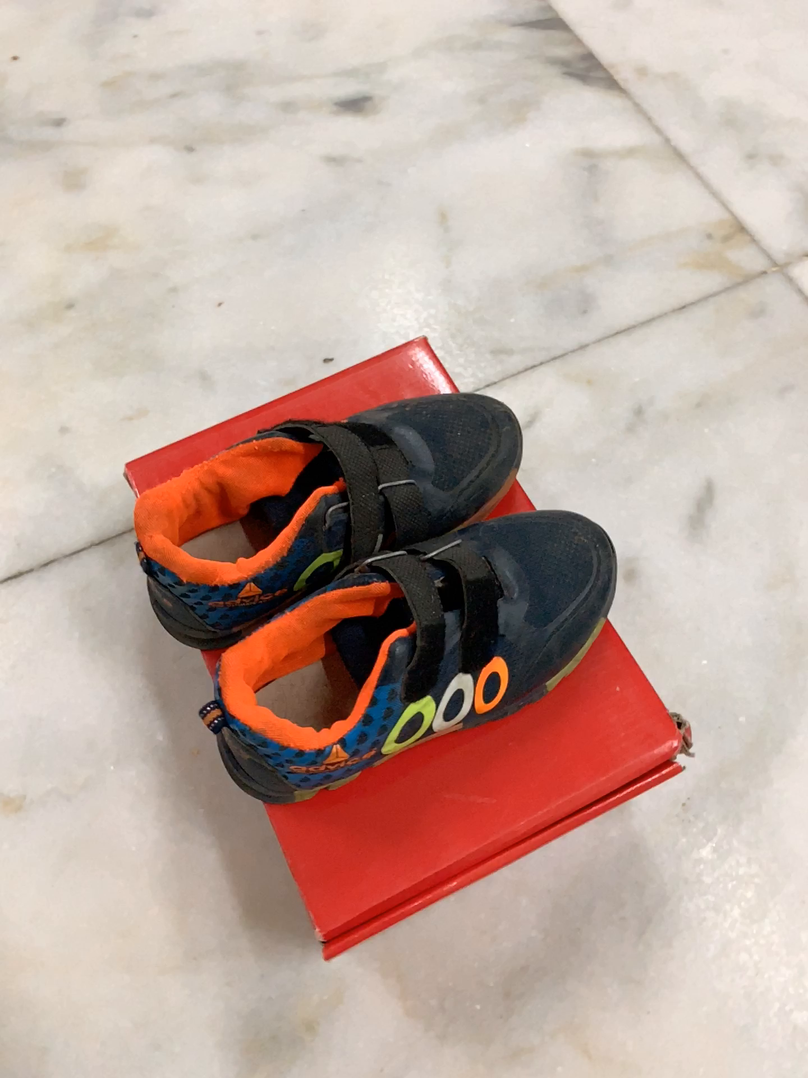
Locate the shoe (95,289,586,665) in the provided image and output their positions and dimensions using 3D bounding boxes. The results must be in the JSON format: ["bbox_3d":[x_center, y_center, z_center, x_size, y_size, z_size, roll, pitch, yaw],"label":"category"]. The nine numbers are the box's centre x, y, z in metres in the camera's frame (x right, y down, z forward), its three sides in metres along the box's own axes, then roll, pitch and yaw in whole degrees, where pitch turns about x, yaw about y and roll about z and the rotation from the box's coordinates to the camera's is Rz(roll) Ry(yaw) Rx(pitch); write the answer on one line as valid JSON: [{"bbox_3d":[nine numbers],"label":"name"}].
[{"bbox_3d":[-0.027,-0.031,0.414,0.210,0.080,0.080,-26,66,-11],"label":"shoe"}]

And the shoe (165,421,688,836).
[{"bbox_3d":[0.011,0.044,0.402,0.210,0.090,0.090,-26,67,-11],"label":"shoe"}]
